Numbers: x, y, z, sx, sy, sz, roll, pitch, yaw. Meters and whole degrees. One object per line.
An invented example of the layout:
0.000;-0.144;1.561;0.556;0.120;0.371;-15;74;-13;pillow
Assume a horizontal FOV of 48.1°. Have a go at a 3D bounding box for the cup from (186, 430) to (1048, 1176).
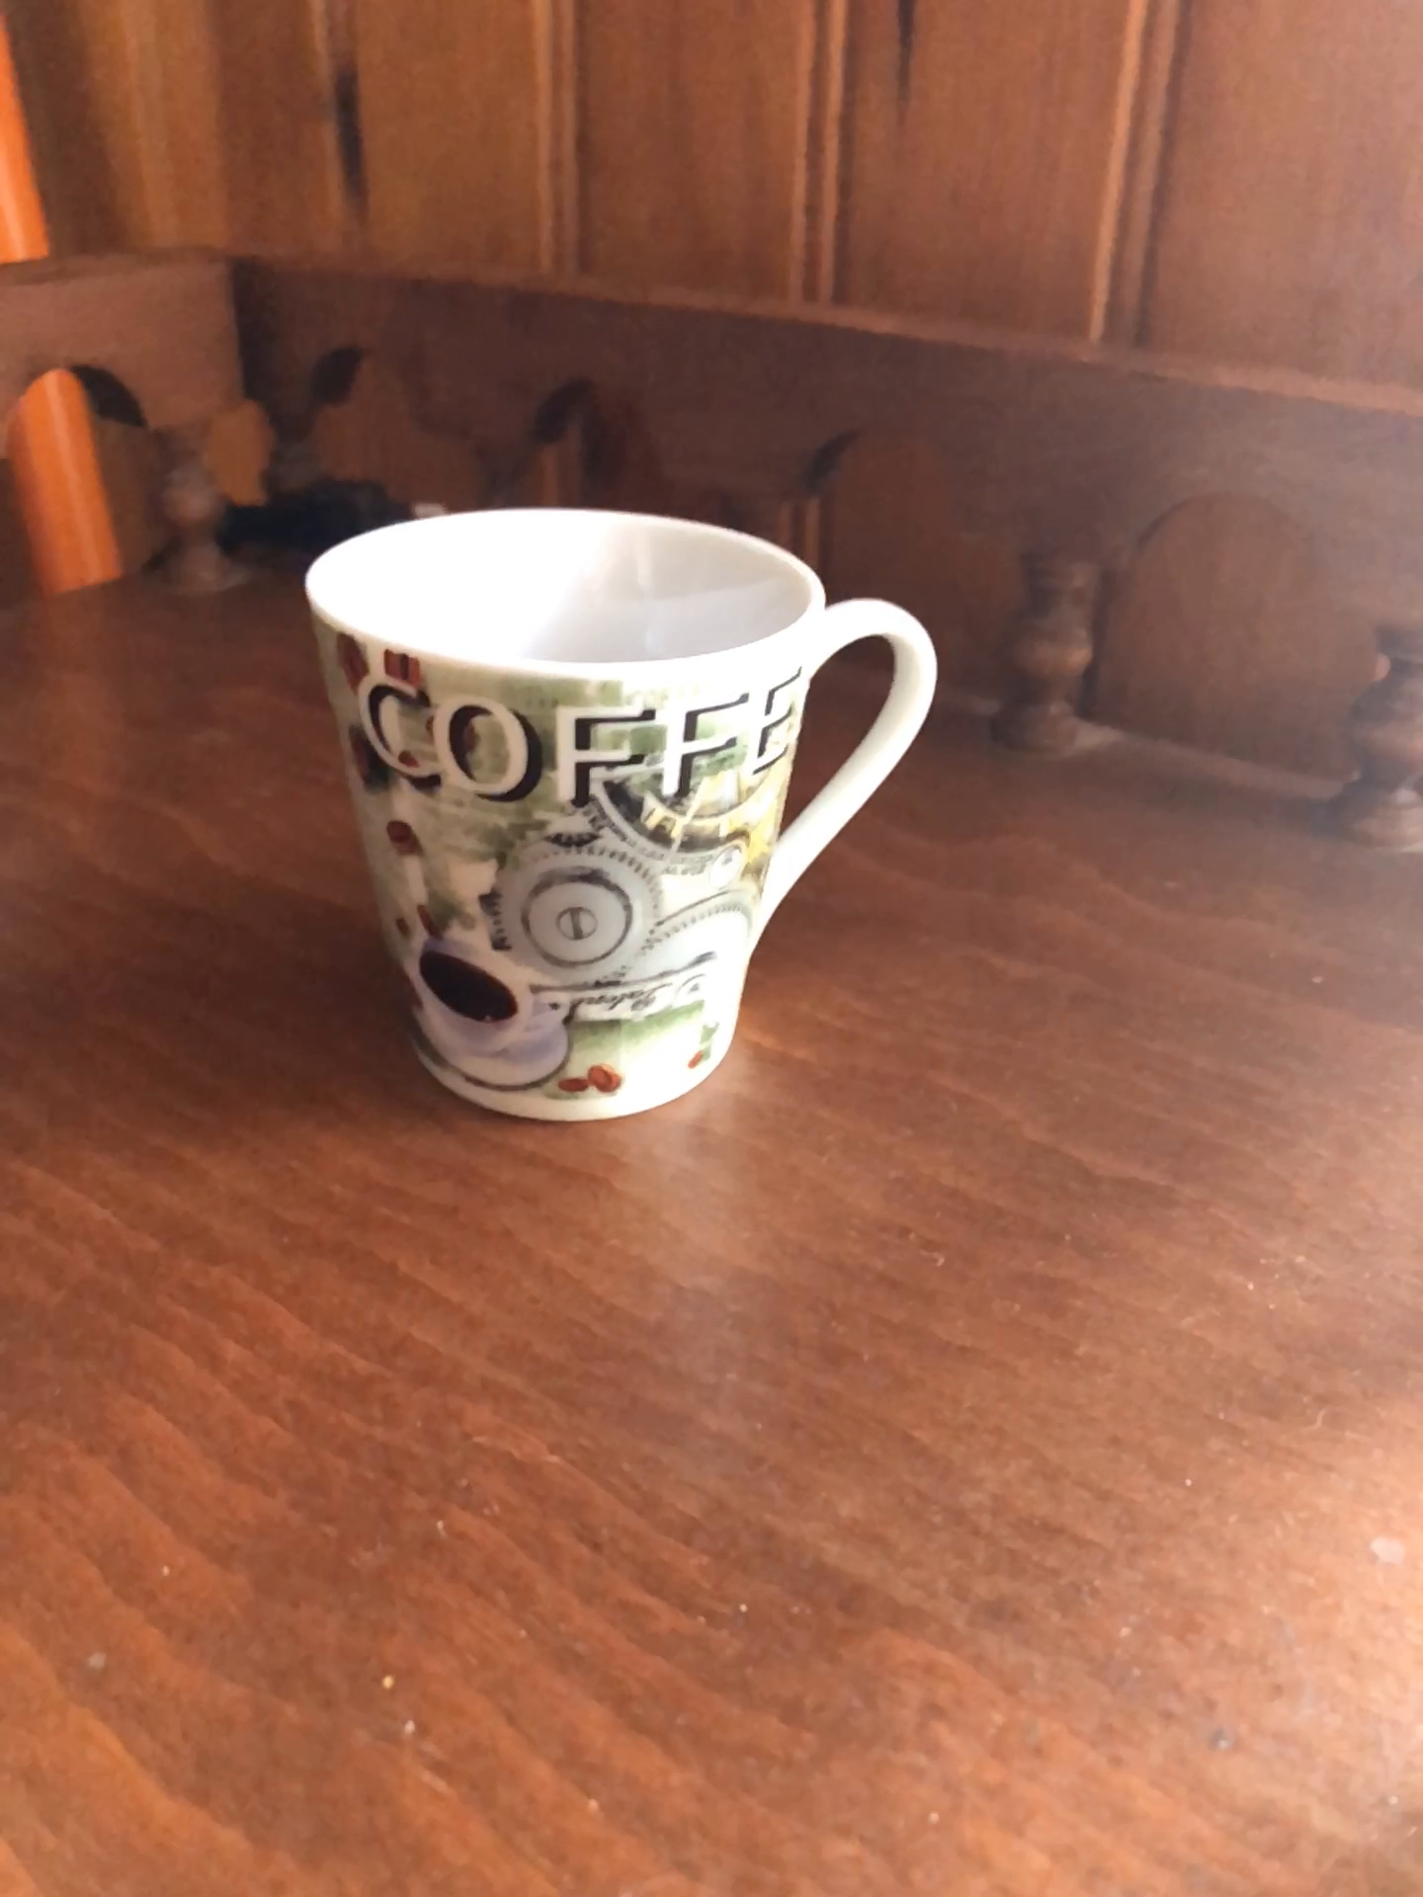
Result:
-0.013;-0.024;0.196;0.080;0.060;0.060;-13;33;-25;cup
